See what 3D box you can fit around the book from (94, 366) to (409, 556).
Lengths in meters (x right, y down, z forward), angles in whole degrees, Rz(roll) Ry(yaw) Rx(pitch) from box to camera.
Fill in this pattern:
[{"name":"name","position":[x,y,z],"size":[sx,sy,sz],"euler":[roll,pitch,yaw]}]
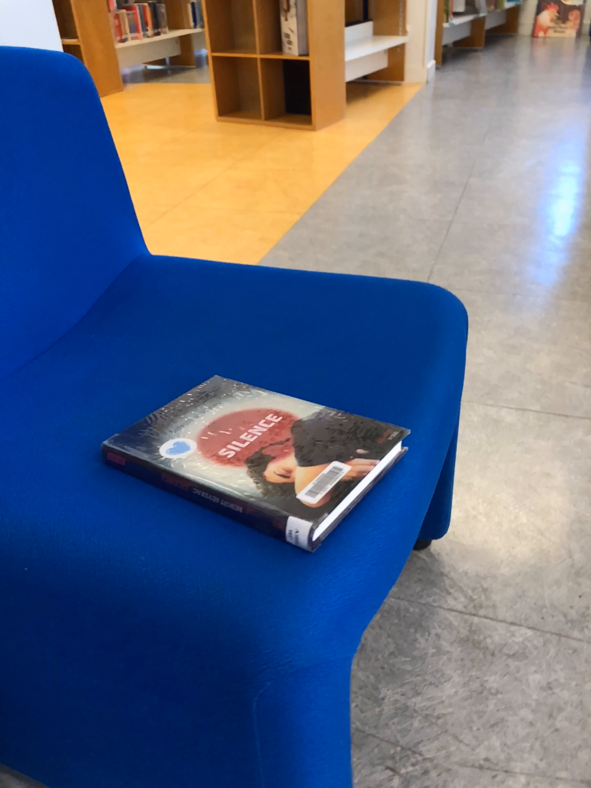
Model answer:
[{"name":"book","position":[-0.035,0.040,0.532],"size":[0.211,0.023,0.147],"euler":[16,35,31]}]
